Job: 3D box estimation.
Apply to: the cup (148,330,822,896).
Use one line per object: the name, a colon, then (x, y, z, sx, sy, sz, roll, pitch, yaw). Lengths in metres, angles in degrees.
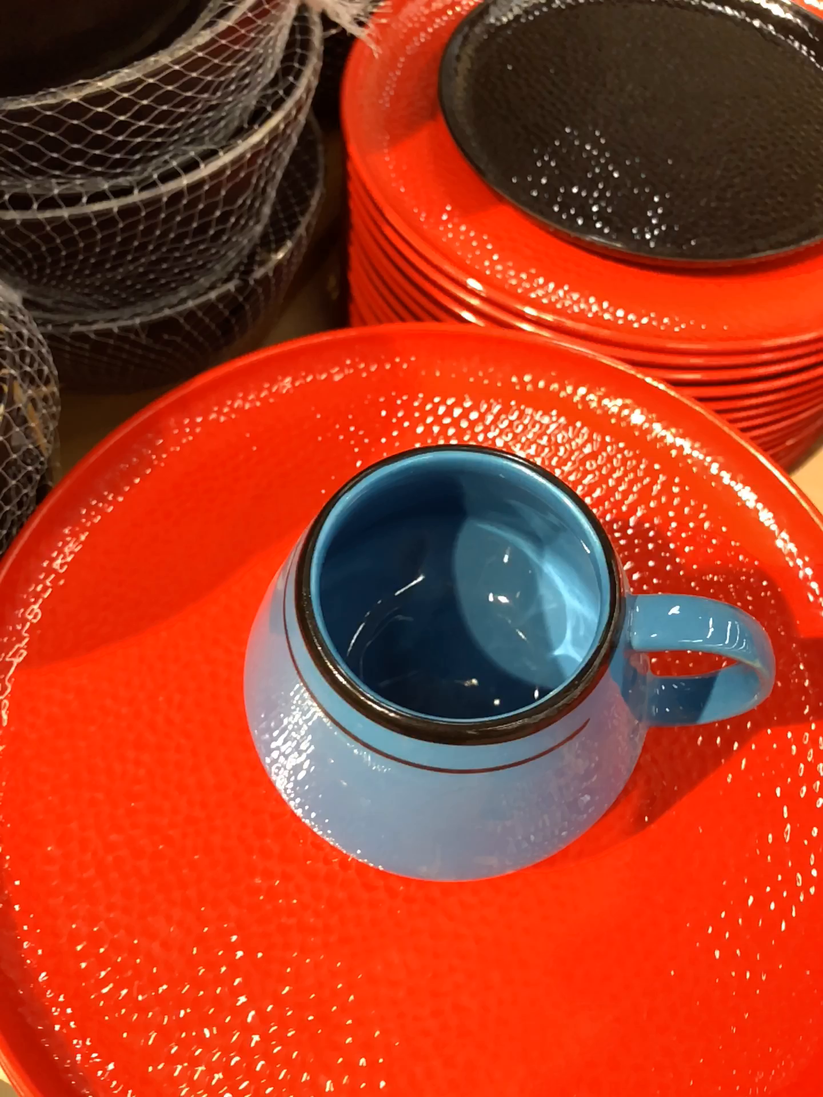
cup: (0.023, 0.020, 0.237, 0.140, 0.090, 0.110, 3, 60, 0)
